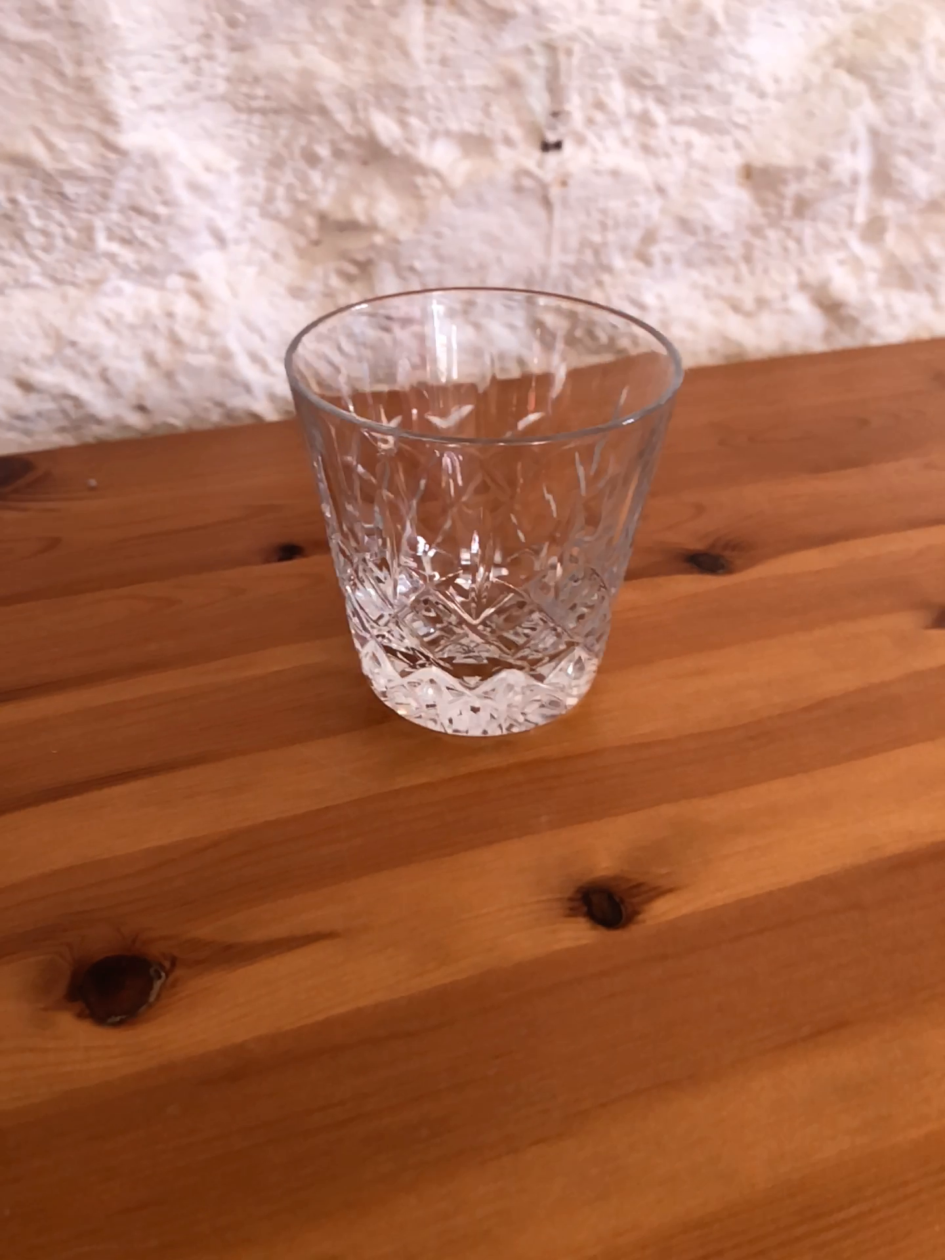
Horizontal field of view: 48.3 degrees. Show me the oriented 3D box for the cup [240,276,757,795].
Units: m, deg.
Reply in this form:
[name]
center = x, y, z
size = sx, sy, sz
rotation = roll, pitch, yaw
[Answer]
[cup]
center = -0.001, -0.024, 0.217
size = 0.078, 0.068, 0.077
rotation = 2, 37, -1
